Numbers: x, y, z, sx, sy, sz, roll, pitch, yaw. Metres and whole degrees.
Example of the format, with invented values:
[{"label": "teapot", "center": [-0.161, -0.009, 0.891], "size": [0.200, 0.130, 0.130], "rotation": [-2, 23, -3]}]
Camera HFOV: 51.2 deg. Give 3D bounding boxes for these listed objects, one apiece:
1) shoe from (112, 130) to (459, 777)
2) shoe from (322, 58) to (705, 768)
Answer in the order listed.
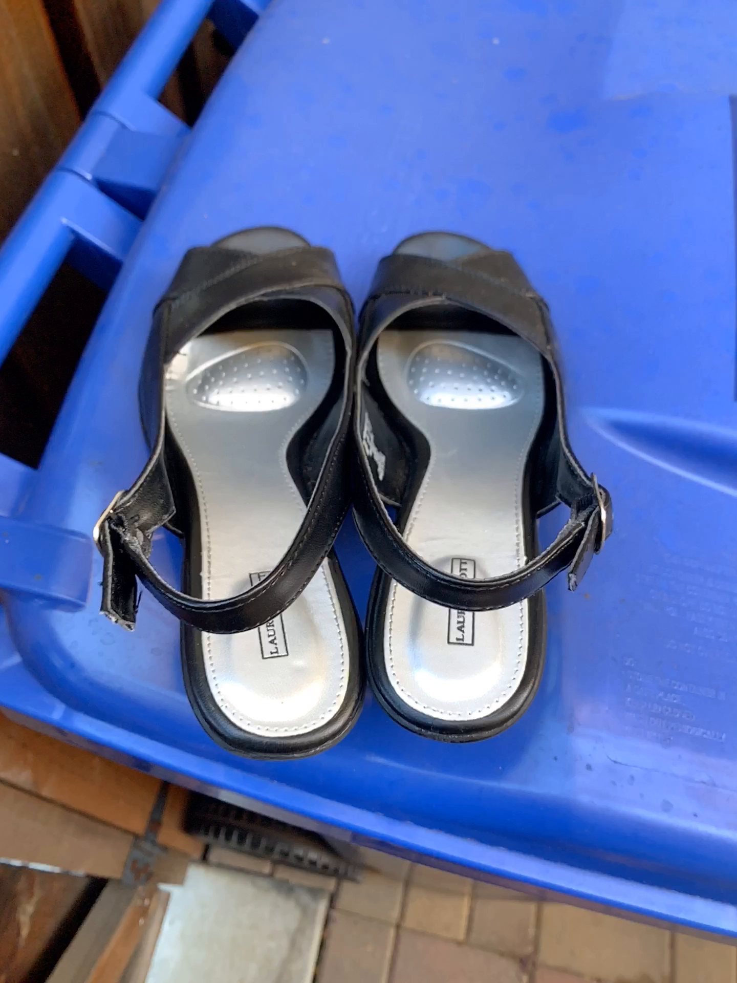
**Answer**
[{"label": "shoe", "center": [-0.049, -0.033, 0.308], "size": [0.090, 0.089, 0.252], "rotation": [-1, 52, -15]}, {"label": "shoe", "center": [0.035, -0.038, 0.287], "size": [0.090, 0.099, 0.252], "rotation": [1, 60, 0]}]
